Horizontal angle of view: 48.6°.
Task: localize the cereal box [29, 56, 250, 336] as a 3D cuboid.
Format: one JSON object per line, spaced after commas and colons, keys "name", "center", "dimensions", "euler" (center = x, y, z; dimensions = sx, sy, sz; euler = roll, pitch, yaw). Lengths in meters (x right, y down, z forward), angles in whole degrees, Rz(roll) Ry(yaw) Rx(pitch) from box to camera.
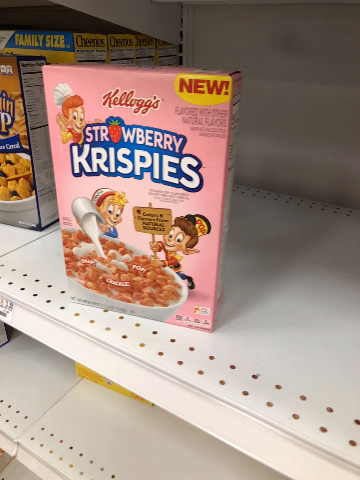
{"name": "cereal box", "center": [-0.037, -0.046, 0.452], "dimensions": [0.200, 0.289, 0.070], "euler": [9, 30, 16]}
